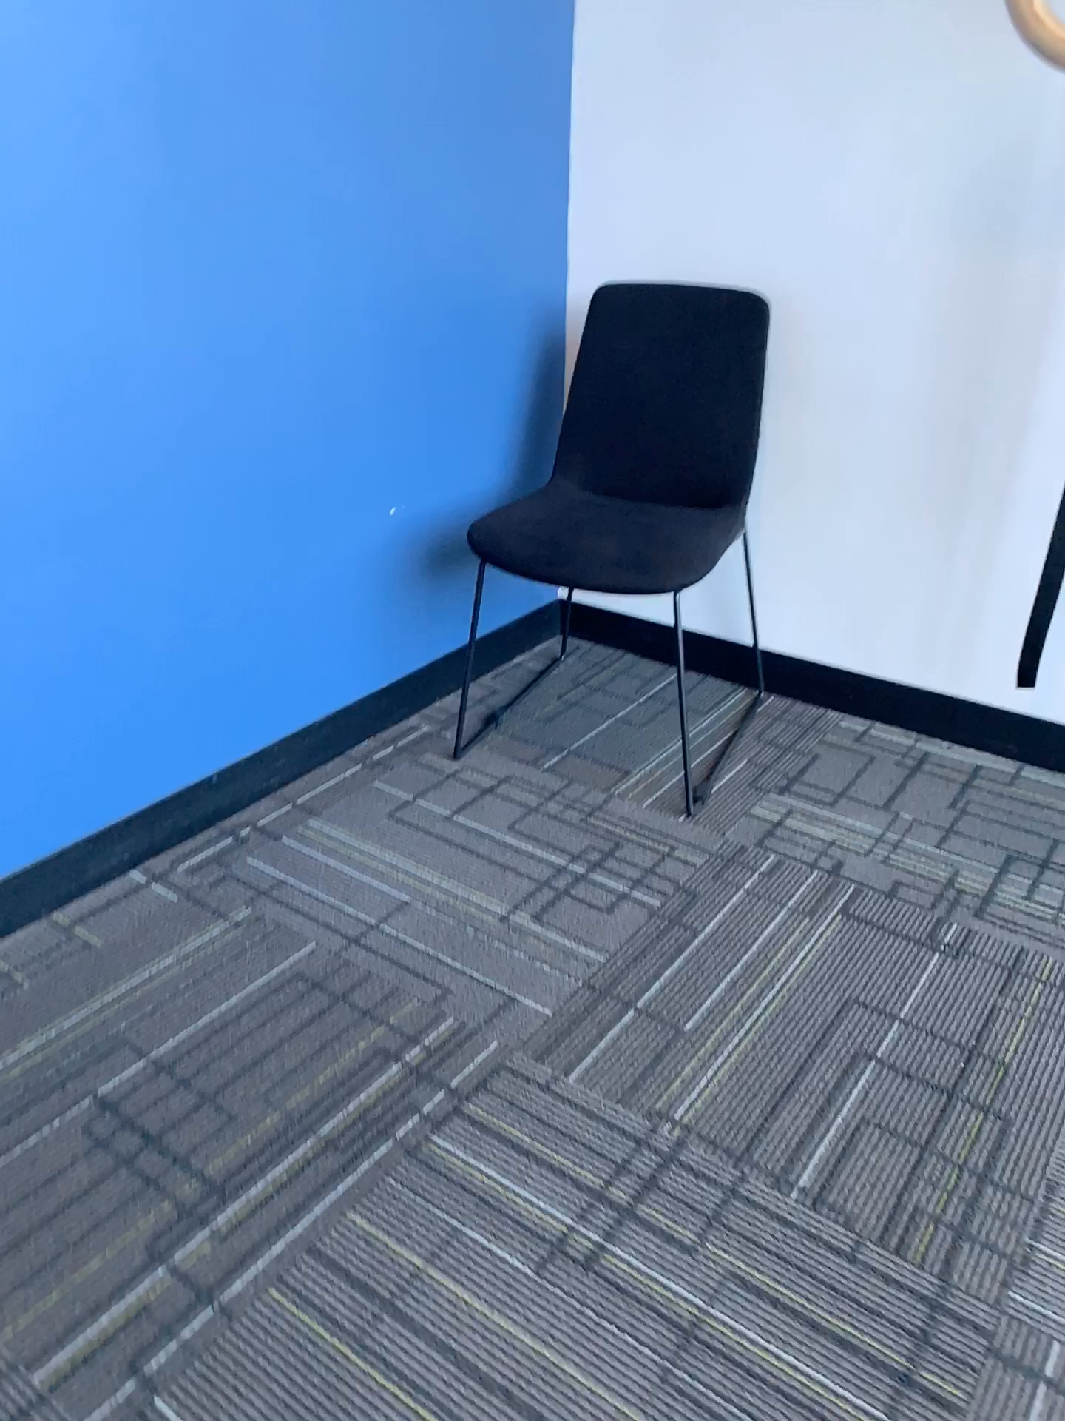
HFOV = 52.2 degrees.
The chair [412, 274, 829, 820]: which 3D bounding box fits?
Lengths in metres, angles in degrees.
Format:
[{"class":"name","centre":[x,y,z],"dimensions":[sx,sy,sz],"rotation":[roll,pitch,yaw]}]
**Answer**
[{"class":"chair","centre":[0.163,-0.330,1.915],"dimensions":[0.501,0.755,0.582],"rotation":[12,28,22]}]
